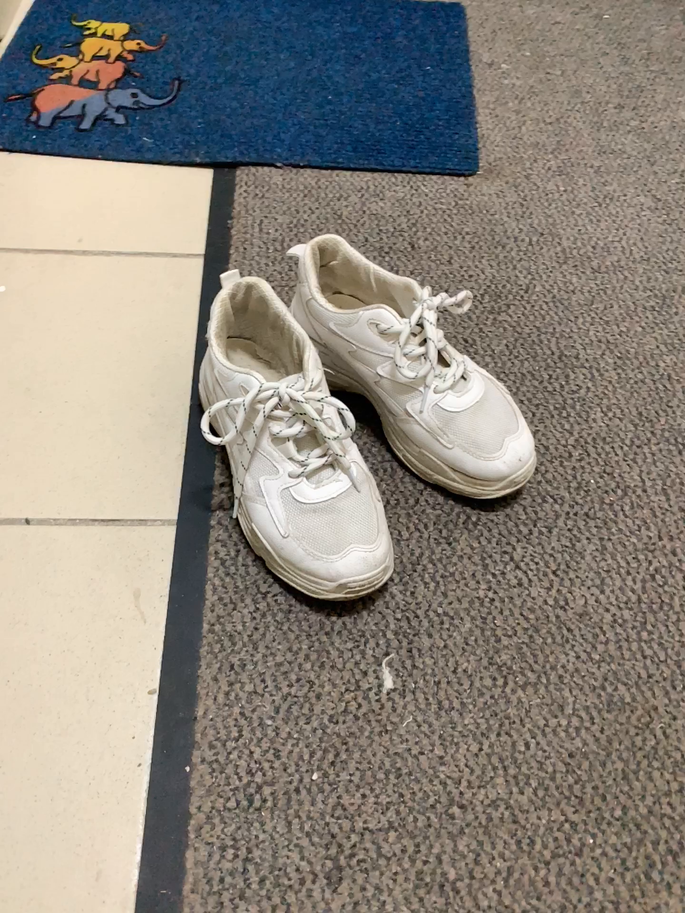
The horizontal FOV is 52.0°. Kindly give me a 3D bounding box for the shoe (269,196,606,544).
[{"bbox_3d":[0.059,-0.070,0.553,0.100,0.140,0.230,-38,65,-23],"label":"shoe"}]

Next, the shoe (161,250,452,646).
[{"bbox_3d":[-0.034,-0.009,0.508,0.100,0.140,0.231,-21,60,-15],"label":"shoe"}]
